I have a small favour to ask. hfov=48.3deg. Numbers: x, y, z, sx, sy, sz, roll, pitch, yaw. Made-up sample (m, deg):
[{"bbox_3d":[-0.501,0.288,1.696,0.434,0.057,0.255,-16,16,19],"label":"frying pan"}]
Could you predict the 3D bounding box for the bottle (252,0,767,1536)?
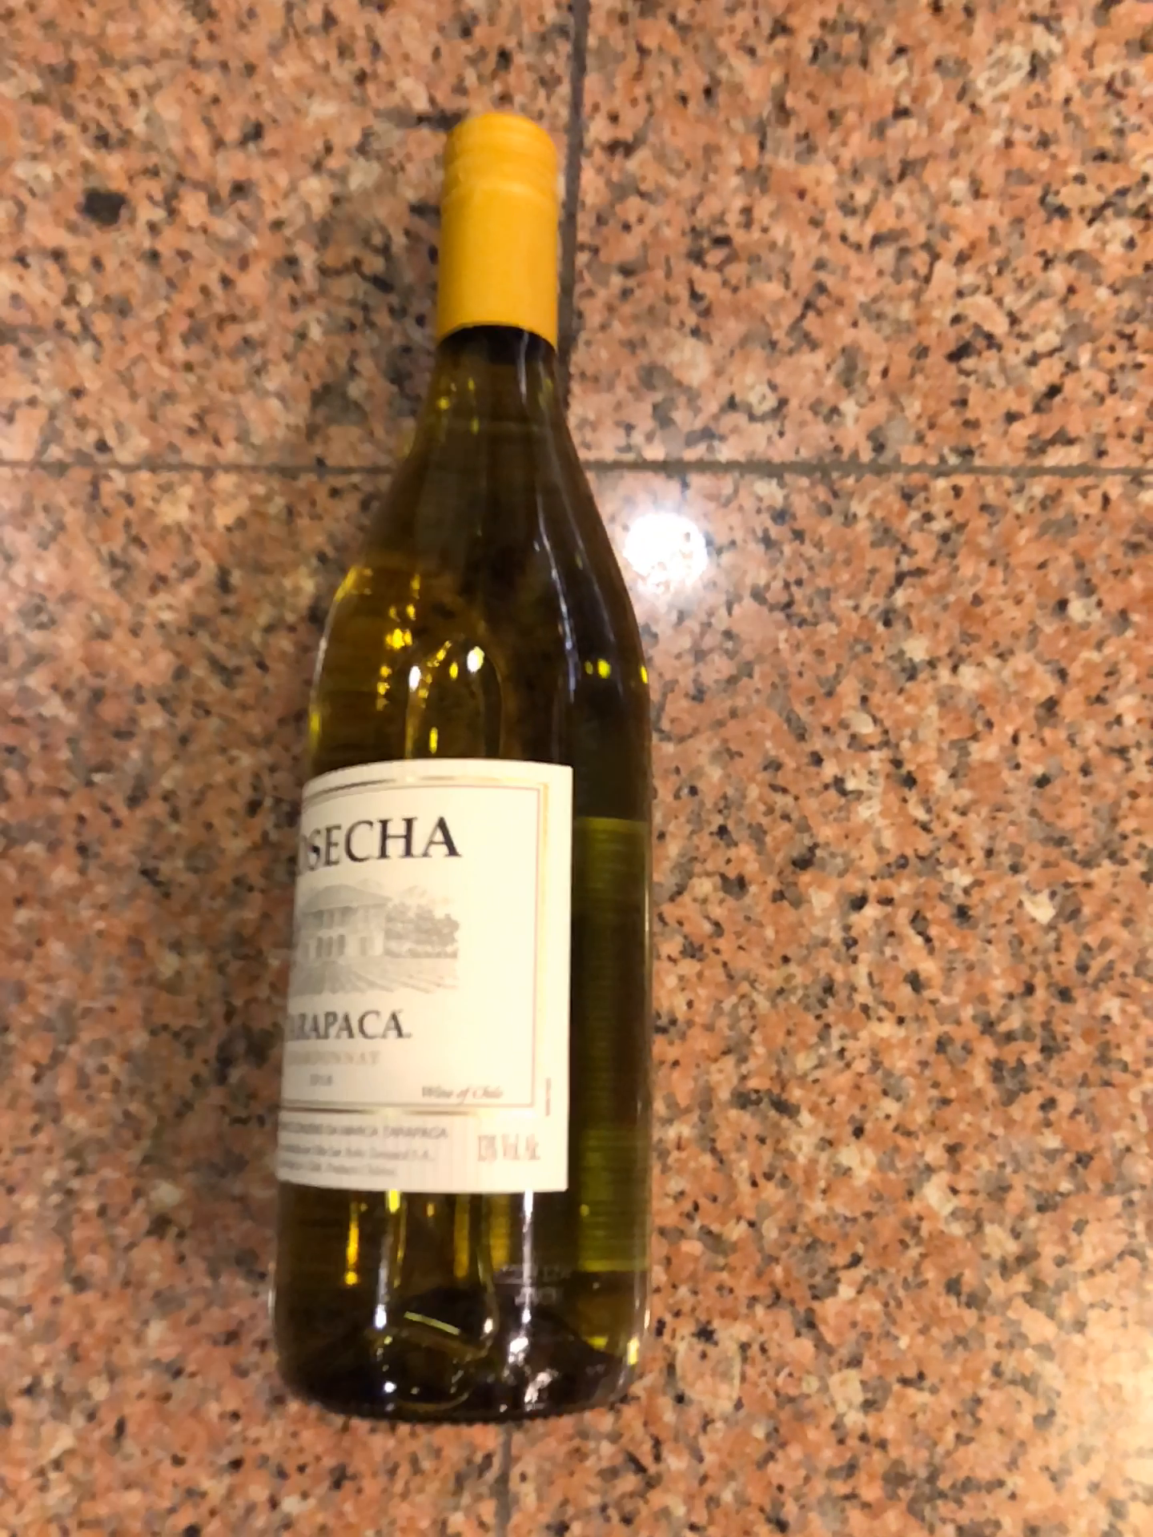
[{"bbox_3d":[-0.008,-0.025,0.298,0.090,0.070,0.340,0,76,4],"label":"bottle"}]
